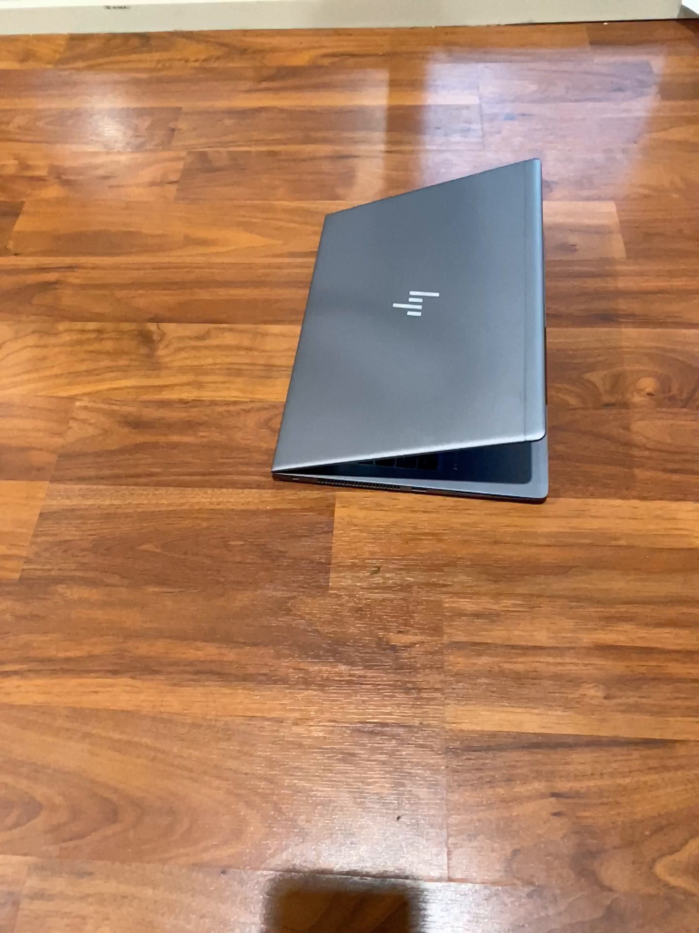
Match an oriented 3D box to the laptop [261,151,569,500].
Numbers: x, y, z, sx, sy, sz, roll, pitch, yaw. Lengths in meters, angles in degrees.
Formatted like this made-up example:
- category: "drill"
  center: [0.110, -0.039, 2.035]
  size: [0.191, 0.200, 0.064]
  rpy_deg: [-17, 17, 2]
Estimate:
- category: "laptop"
  center: [0.068, -0.143, 0.647]
  size: [0.230, 0.078, 0.326]
  rpy_deg: [5, 59, 5]
